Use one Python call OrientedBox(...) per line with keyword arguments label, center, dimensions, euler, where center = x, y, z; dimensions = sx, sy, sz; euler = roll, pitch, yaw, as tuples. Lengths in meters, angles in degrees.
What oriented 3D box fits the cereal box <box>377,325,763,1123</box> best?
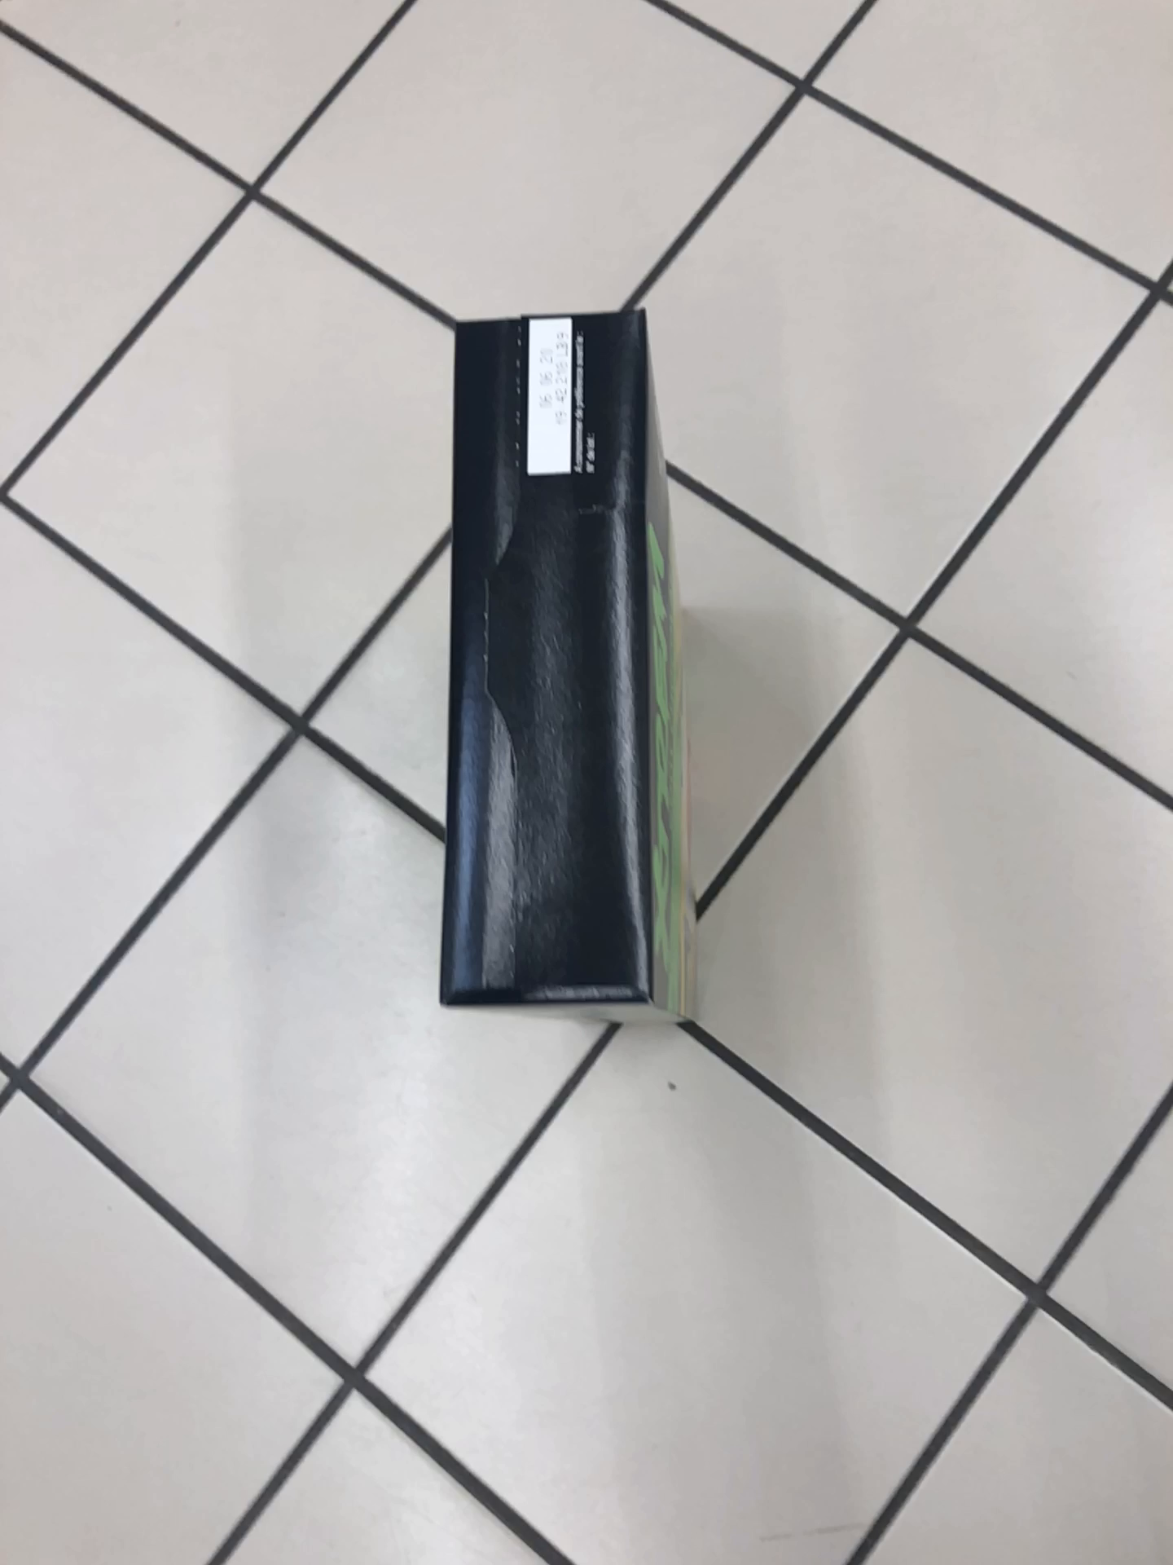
OrientedBox(label="cereal box", center=(0.009, 0.004, 0.437), dimensions=(0.090, 0.240, 0.200), euler=(-1, 78, 6))
